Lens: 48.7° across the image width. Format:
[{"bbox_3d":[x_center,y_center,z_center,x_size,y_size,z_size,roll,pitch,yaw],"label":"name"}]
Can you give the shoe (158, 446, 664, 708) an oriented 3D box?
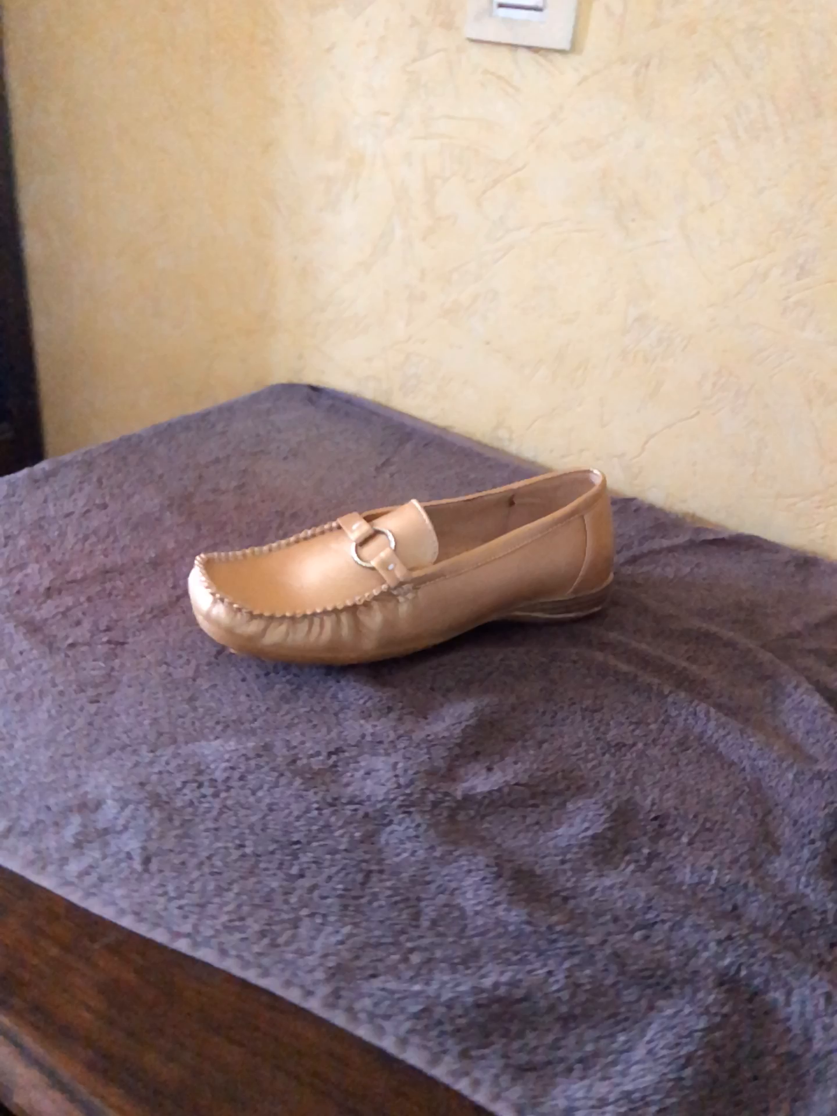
[{"bbox_3d":[-0.002,0.001,0.509,0.261,0.080,0.080,-8,32,-25],"label":"shoe"}]
